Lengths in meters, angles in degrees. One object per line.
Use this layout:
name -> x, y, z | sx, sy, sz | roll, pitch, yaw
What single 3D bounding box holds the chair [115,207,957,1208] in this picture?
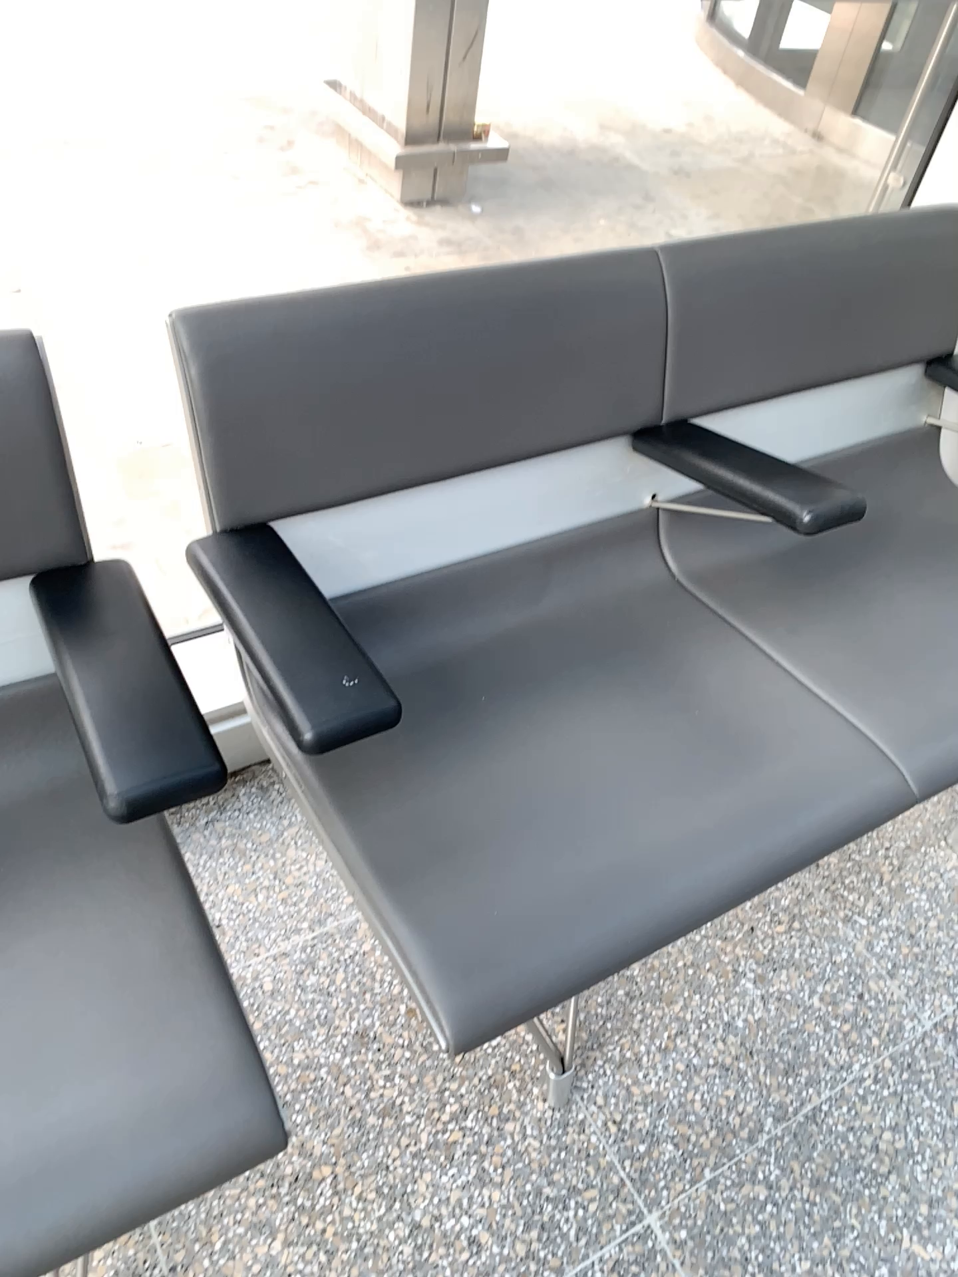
chair -> 0.262, -0.032, 1.375 | 1.204, 0.713, 0.825 | -18, 51, -26
